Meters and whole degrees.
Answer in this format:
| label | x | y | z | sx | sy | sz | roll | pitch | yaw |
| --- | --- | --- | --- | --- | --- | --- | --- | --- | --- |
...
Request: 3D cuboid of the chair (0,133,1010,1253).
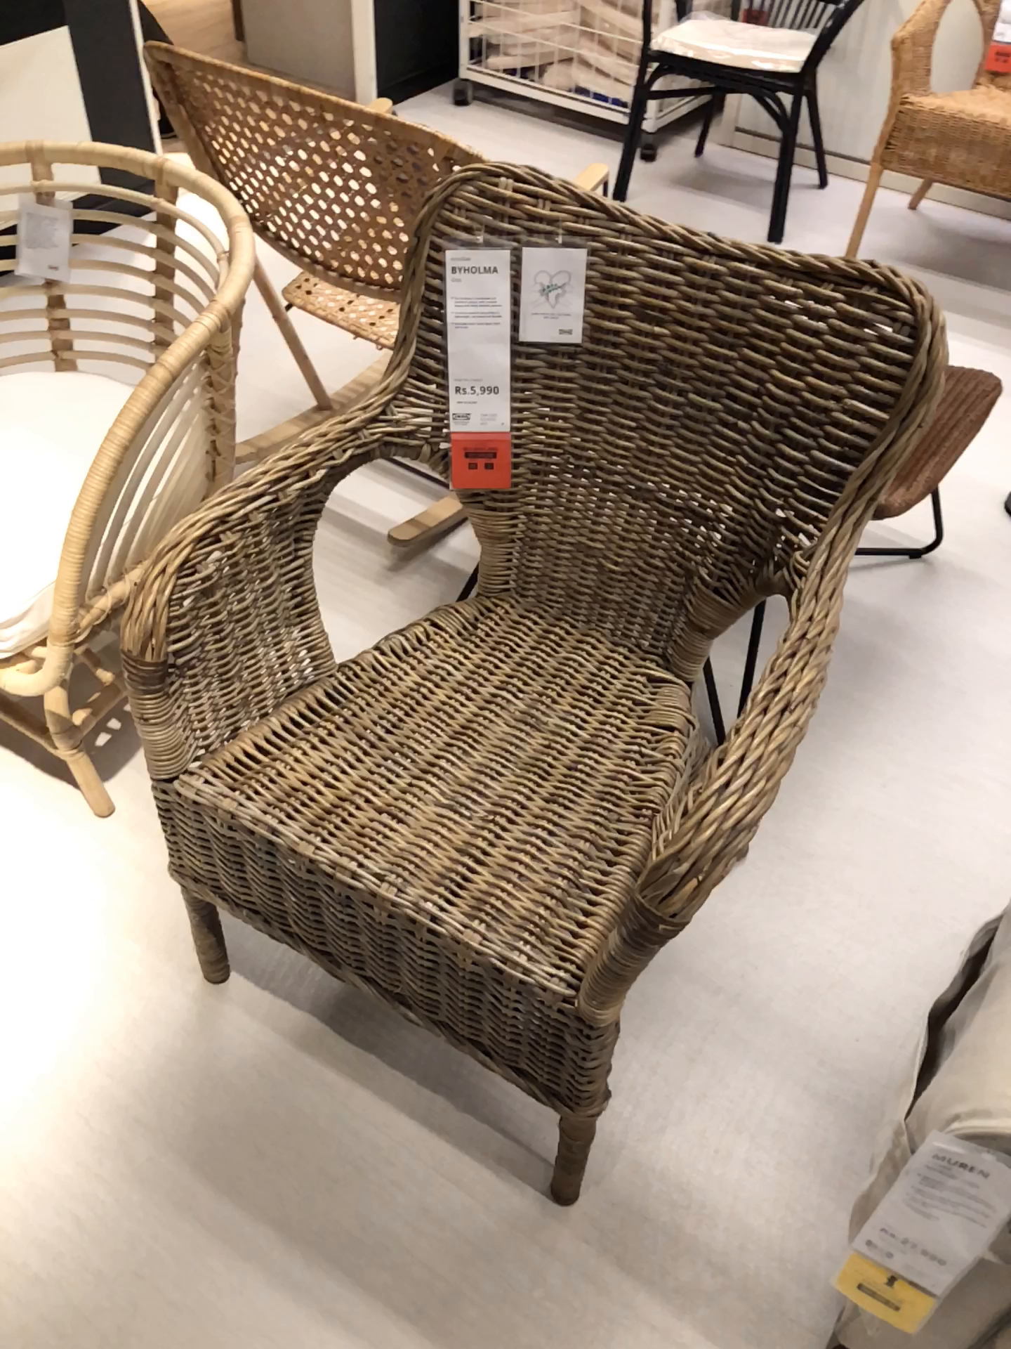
| label | x | y | z | sx | sy | sz | roll | pitch | yaw |
| --- | --- | --- | --- | --- | --- | --- | --- | --- | --- |
| chair | 0.020 | 0.020 | 1.308 | 0.671 | 0.924 | 0.683 | 25 | 49 | 21 |
